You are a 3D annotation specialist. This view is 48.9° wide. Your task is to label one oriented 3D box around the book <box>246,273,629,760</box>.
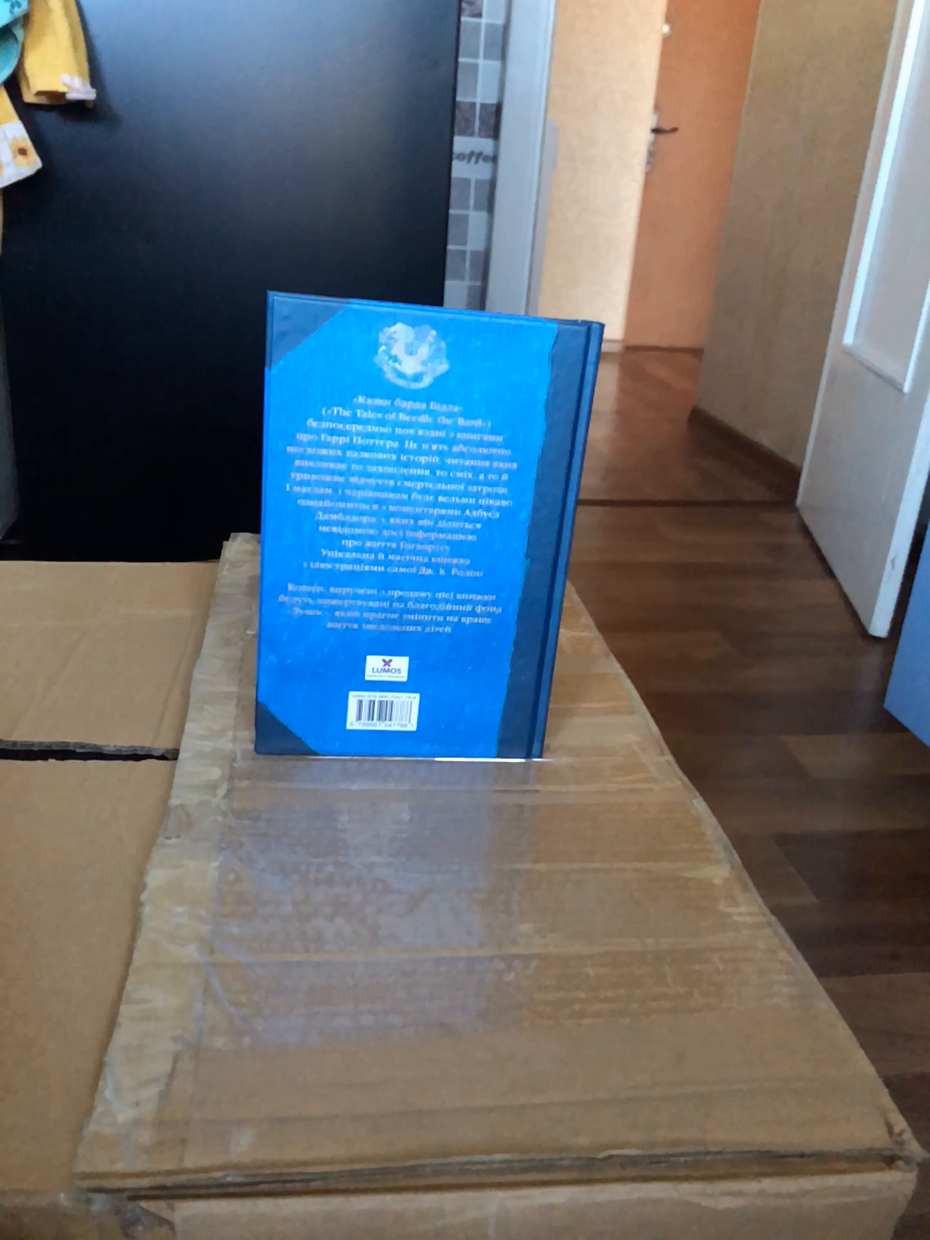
[{"bbox_3d":[-0.018,-0.036,0.432,0.144,0.199,0.030,2,22,-7],"label":"book"}]
